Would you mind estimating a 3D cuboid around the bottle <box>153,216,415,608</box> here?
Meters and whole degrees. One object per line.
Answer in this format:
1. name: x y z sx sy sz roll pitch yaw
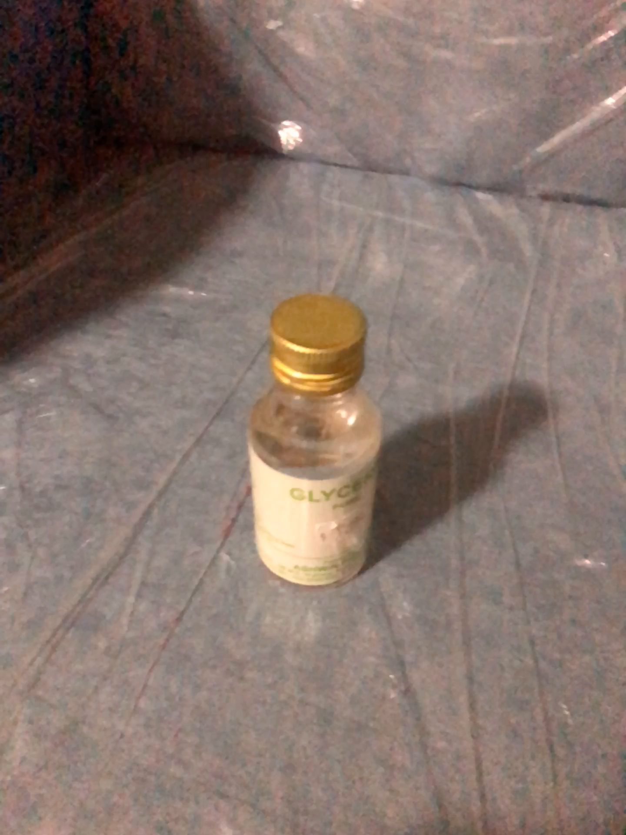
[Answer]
1. bottle: -0.008 0.003 0.204 0.050 0.100 0.050 0 48 1
